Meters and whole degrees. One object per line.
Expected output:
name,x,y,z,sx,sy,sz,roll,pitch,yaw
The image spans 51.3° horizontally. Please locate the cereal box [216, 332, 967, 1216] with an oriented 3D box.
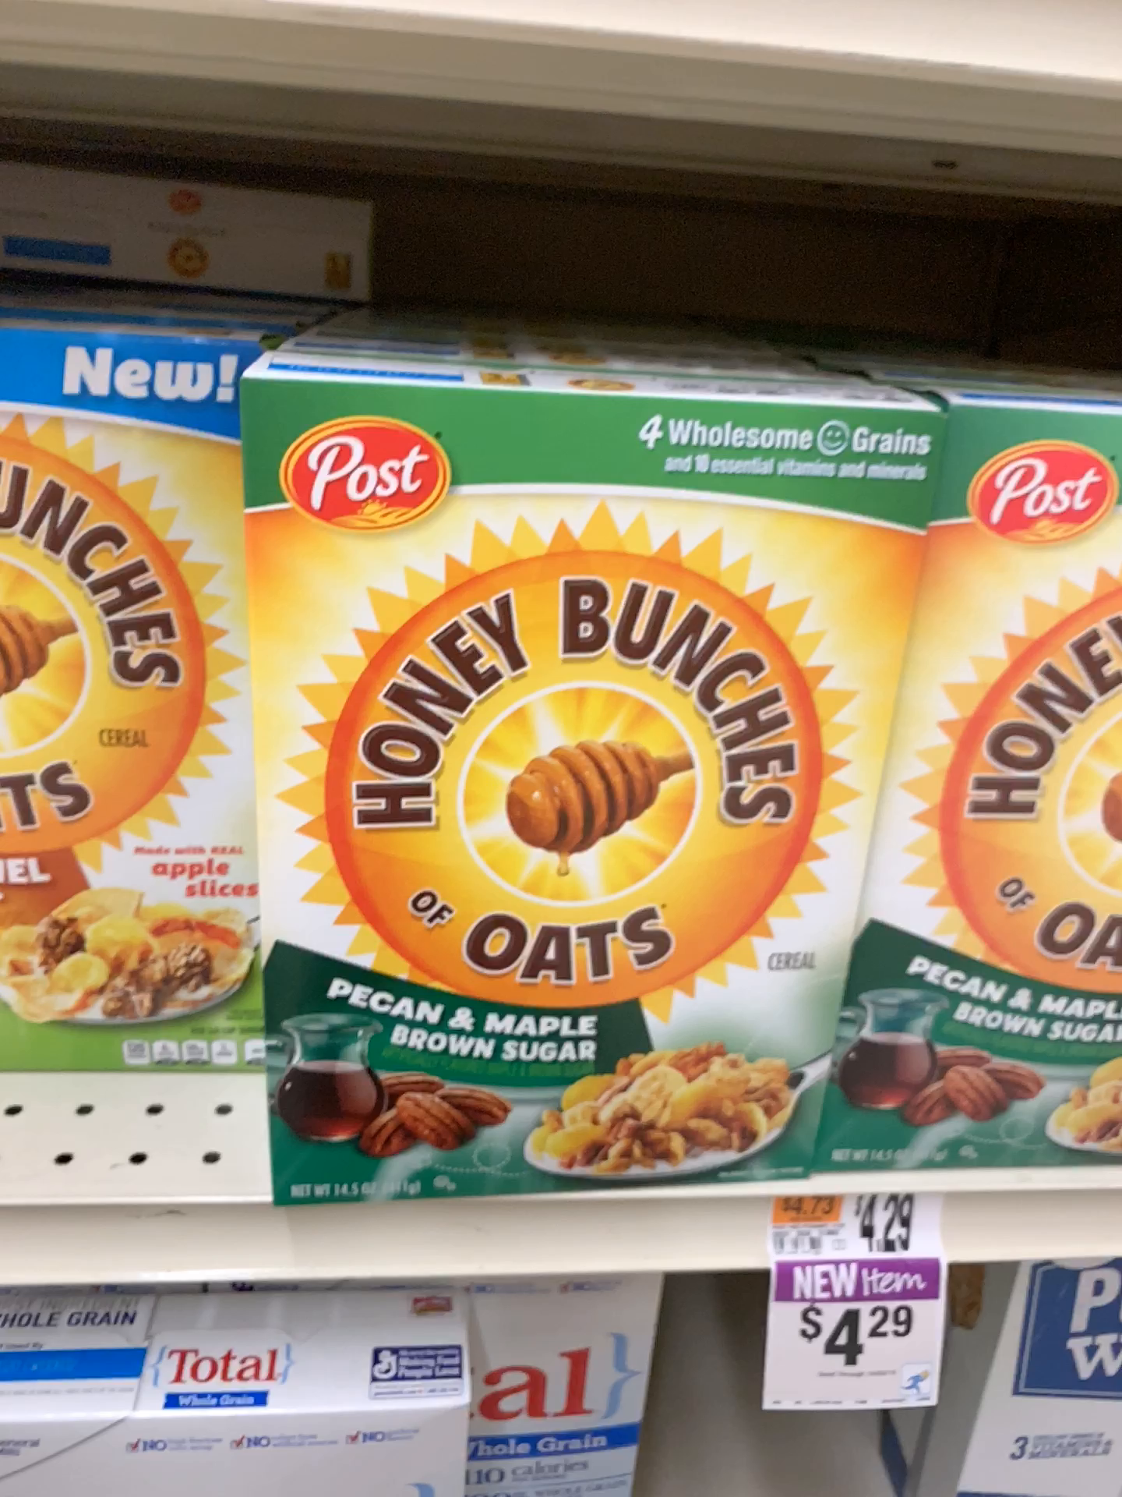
cereal box,-0.001,0.018,0.386,0.200,0.279,0.060,0,23,-10
